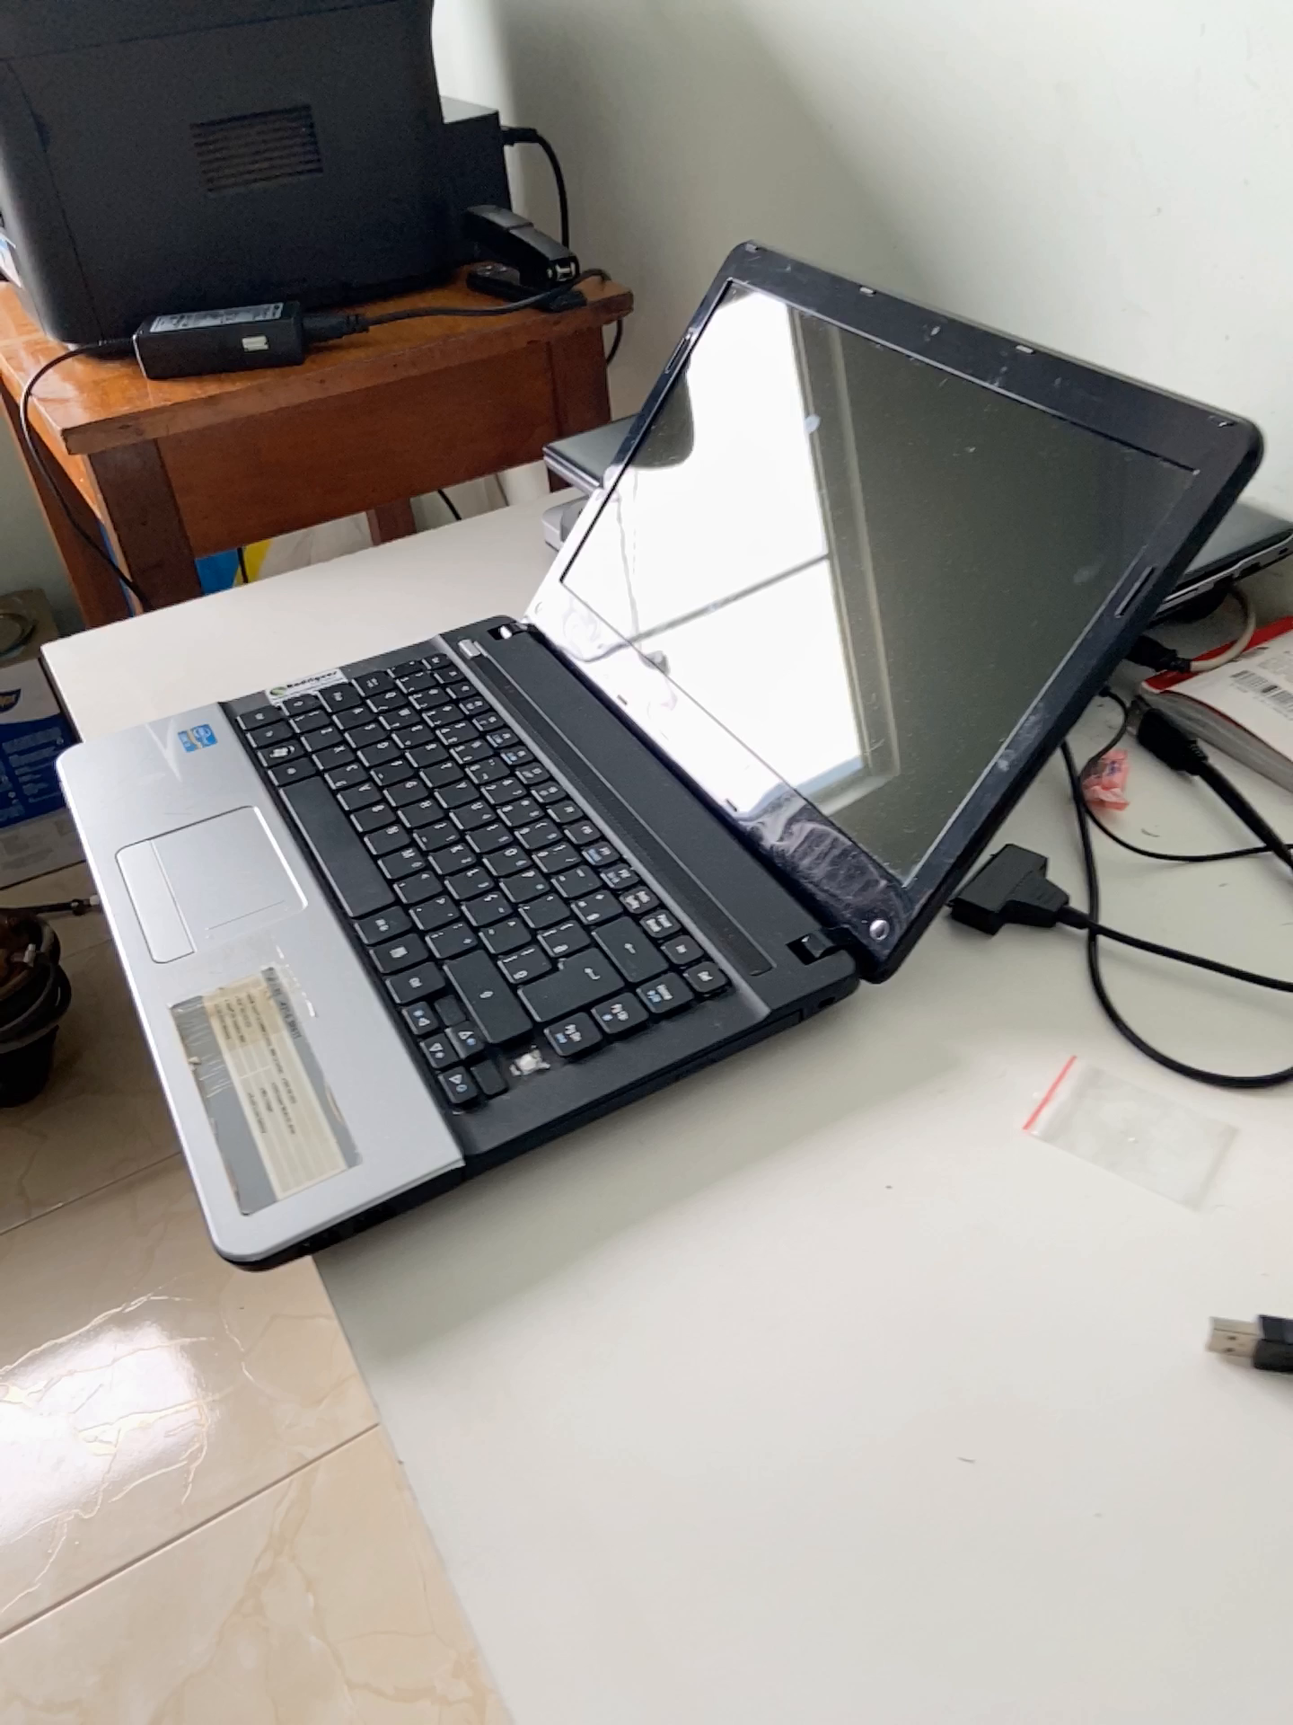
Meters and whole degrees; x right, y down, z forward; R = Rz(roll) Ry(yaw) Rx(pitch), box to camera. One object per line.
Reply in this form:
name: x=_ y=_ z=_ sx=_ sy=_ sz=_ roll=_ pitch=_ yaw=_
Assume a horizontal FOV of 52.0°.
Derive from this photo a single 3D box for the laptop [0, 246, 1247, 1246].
laptop: x=-0.041 y=-0.099 z=0.553 sx=0.396 sy=0.162 sz=0.334 roll=-21 pitch=41 yaw=-19
